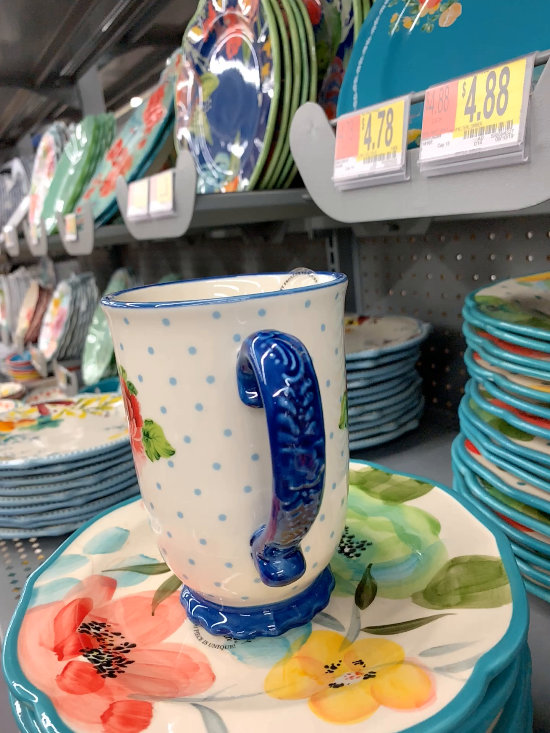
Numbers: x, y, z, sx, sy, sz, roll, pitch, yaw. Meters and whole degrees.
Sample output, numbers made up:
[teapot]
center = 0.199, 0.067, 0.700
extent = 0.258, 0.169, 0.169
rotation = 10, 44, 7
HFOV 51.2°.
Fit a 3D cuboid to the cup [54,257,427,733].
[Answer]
[cup]
center = -0.023, 0.031, 0.216
extent = 0.090, 0.130, 0.130
rotation = -11, 15, -19
